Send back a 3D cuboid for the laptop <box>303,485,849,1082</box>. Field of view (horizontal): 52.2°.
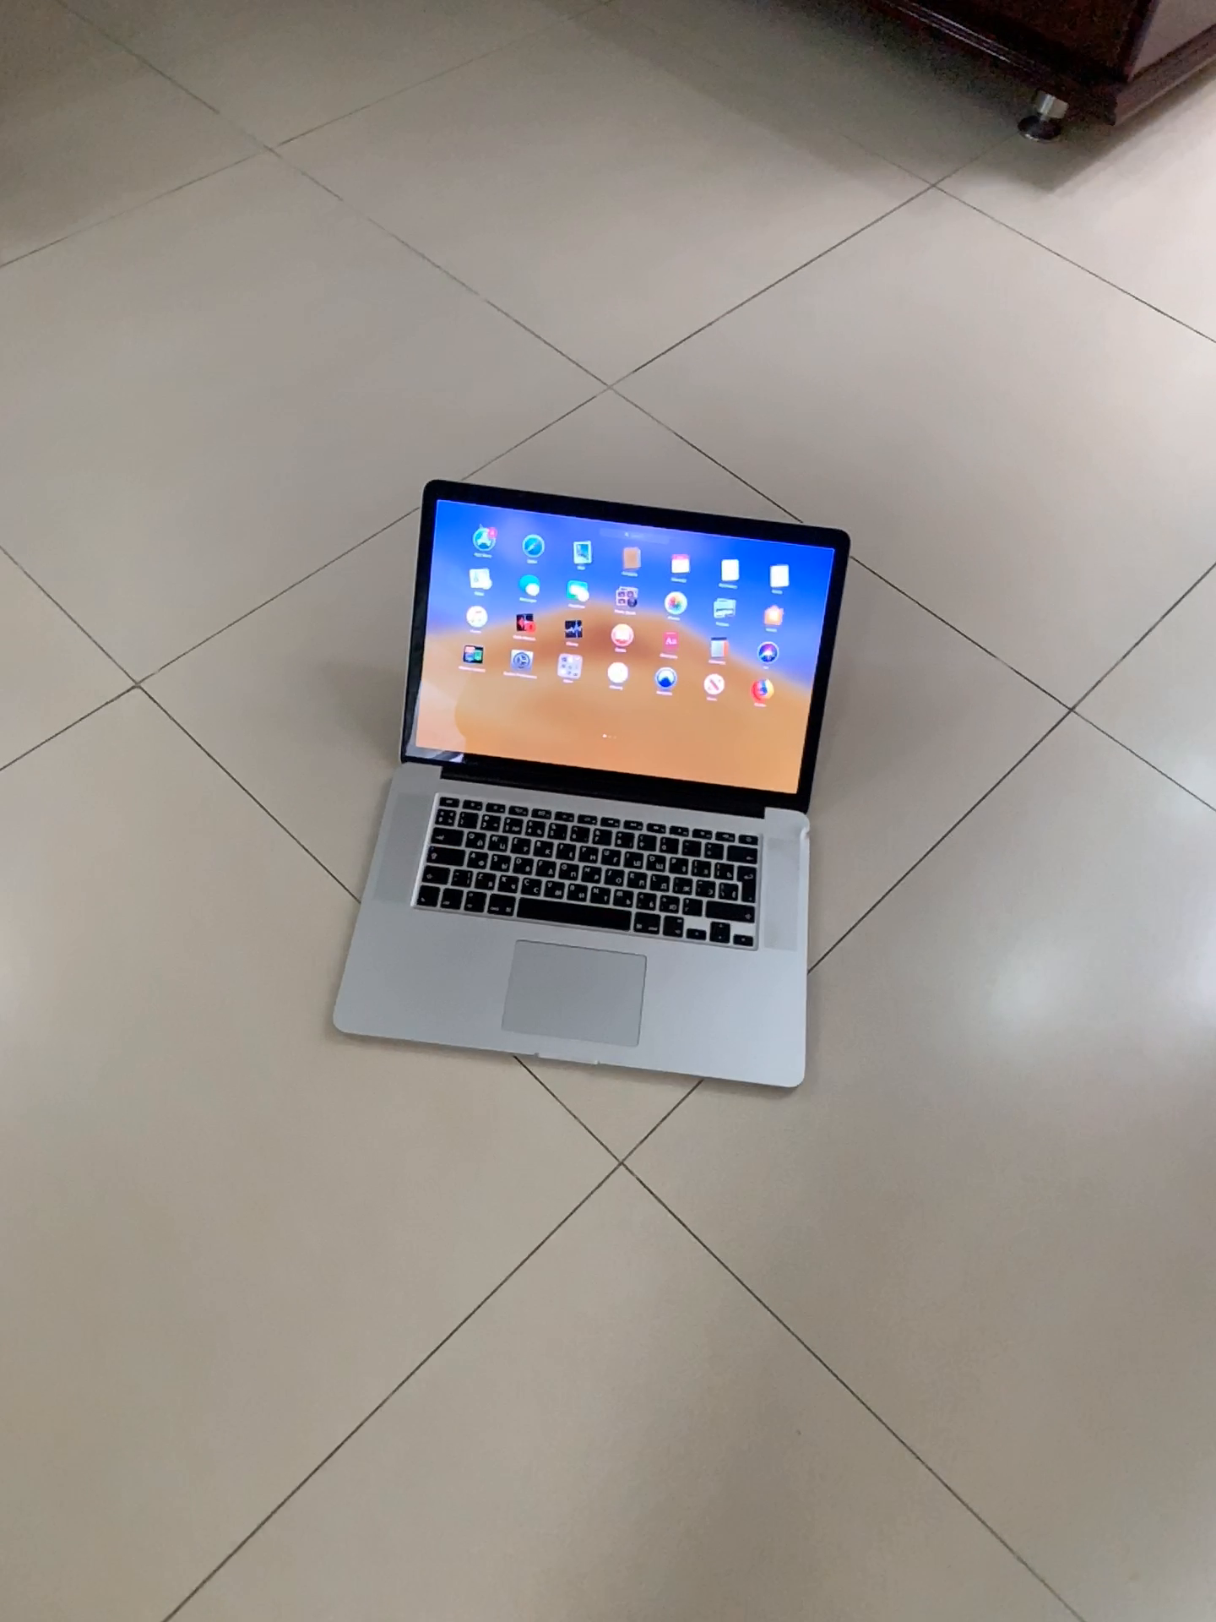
[{"bbox_3d":[-0.004,-0.032,0.978,0.352,0.162,0.416,7,56,0],"label":"laptop"}]
